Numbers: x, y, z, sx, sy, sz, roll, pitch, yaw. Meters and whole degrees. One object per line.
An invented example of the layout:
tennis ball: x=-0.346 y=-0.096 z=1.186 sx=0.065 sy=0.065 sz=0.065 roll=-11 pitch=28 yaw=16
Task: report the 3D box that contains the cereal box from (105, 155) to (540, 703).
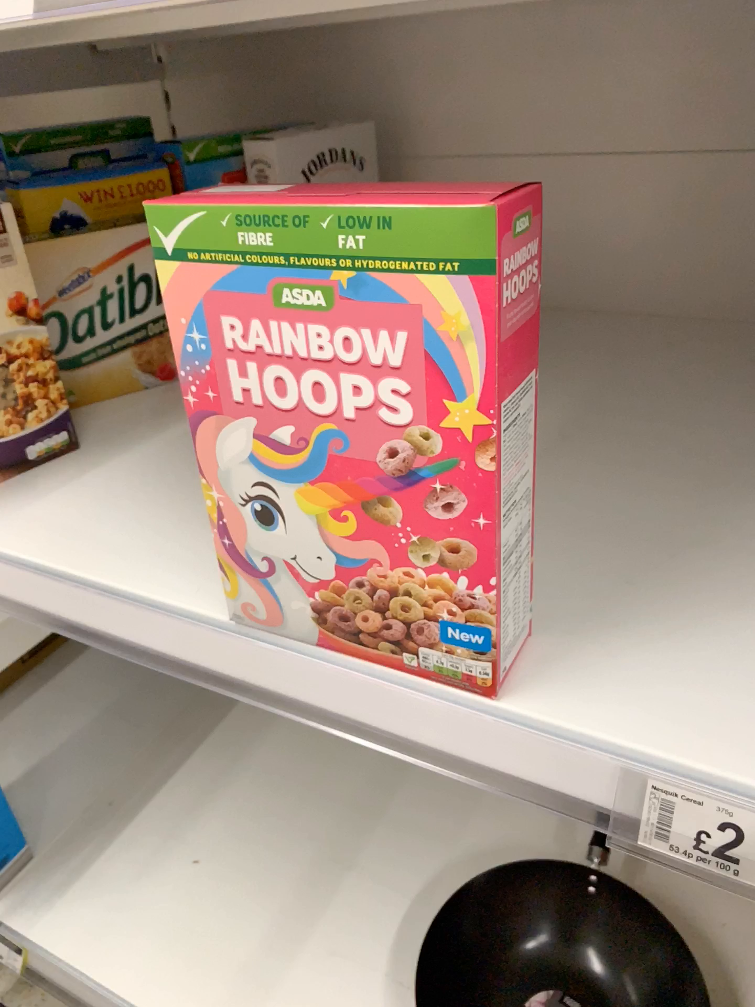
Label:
cereal box: x=-0.021 y=-0.040 z=0.444 sx=0.210 sy=0.277 sz=0.060 roll=11 pitch=33 yaw=27
